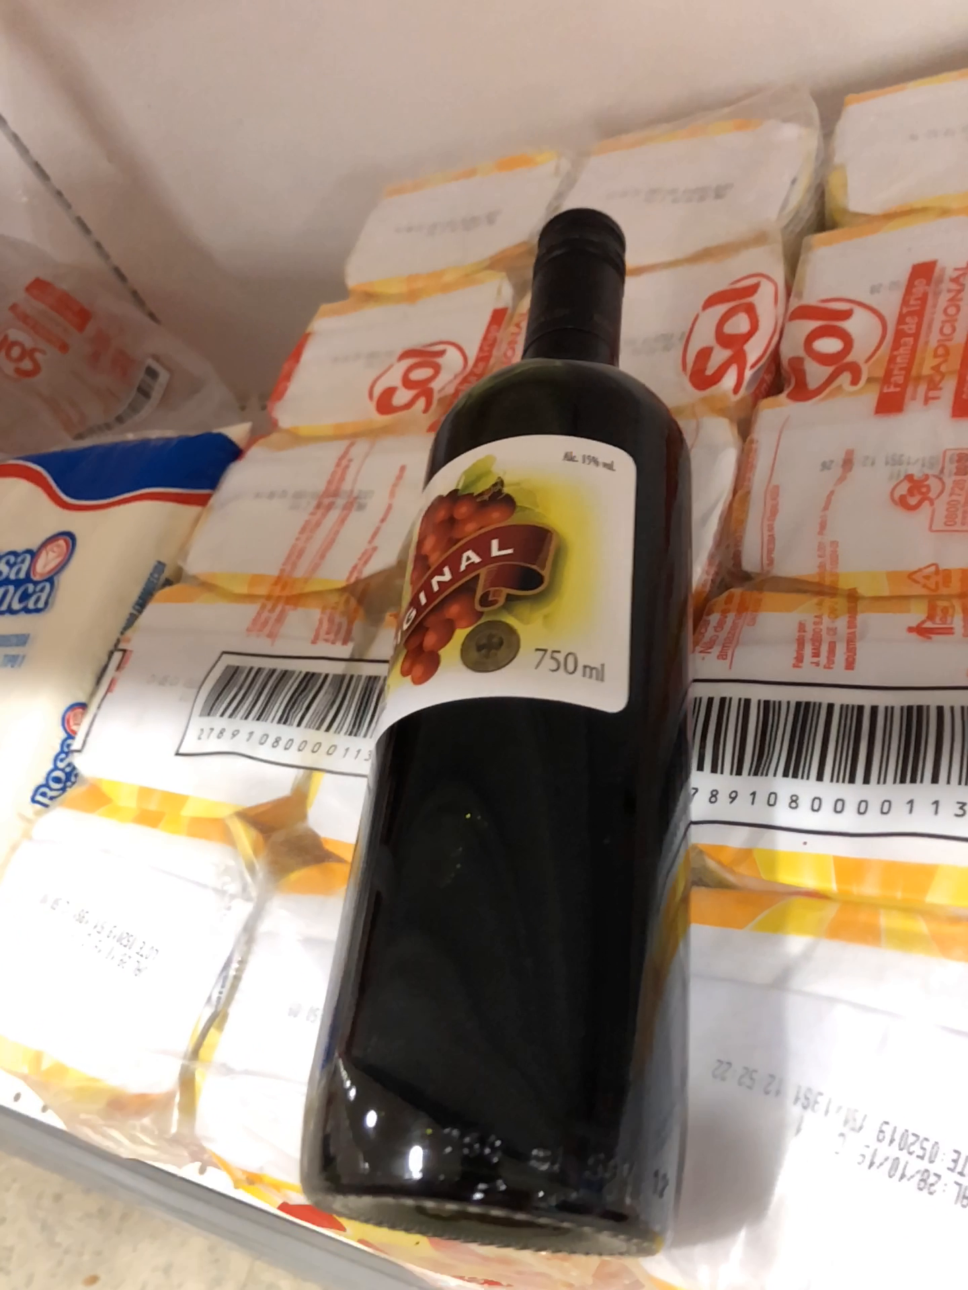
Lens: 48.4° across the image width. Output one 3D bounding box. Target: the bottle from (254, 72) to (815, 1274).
[{"bbox_3d":[0.028,-0.020,0.293,0.080,0.070,0.321,-28,41,41],"label":"bottle"}]
